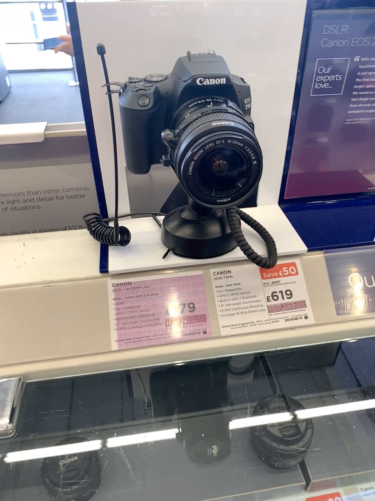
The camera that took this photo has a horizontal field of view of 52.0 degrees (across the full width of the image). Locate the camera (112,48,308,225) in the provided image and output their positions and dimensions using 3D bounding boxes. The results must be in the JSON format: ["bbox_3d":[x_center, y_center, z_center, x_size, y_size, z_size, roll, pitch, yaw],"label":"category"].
[{"bbox_3d":[0.005,-0.103,0.320,0.120,0.089,0.141,-7,37,-8],"label":"camera"}]
